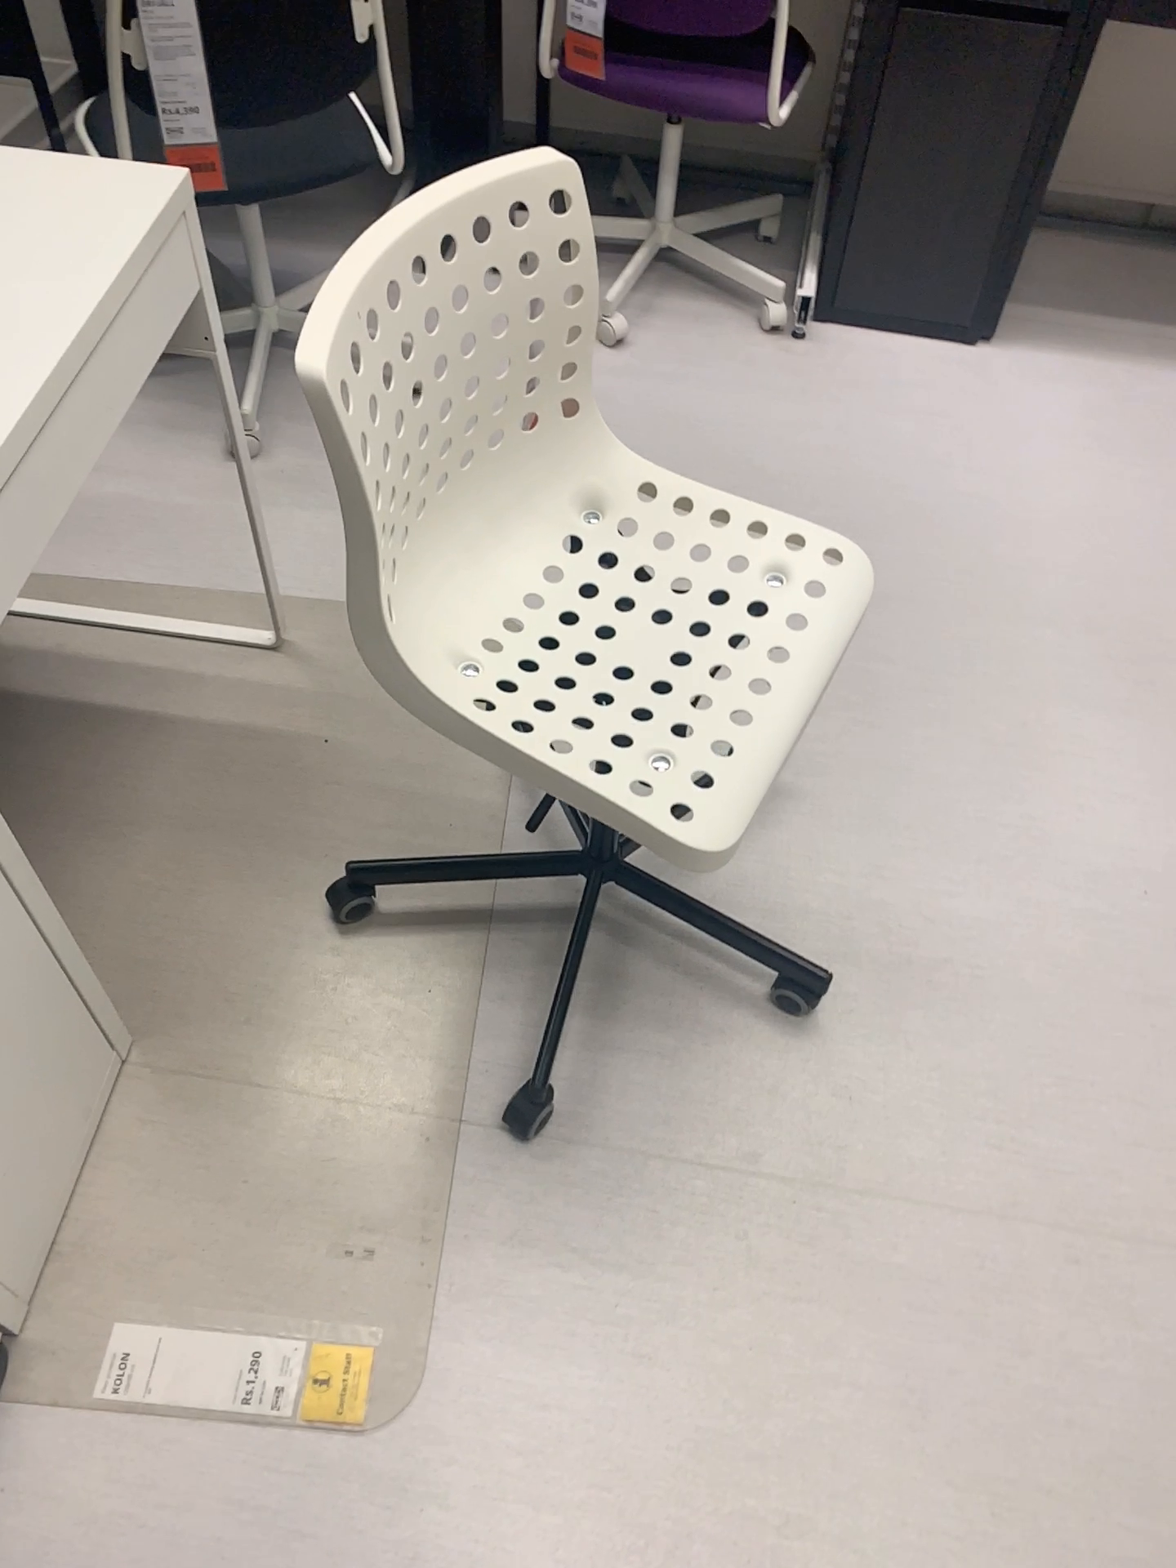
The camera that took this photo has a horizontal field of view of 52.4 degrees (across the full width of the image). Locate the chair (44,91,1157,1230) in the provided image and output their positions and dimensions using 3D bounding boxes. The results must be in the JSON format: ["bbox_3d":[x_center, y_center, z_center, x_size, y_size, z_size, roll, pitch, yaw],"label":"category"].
[{"bbox_3d":[0.047,-0.107,1.269,0.670,0.788,0.682,21,55,13],"label":"chair"}]
